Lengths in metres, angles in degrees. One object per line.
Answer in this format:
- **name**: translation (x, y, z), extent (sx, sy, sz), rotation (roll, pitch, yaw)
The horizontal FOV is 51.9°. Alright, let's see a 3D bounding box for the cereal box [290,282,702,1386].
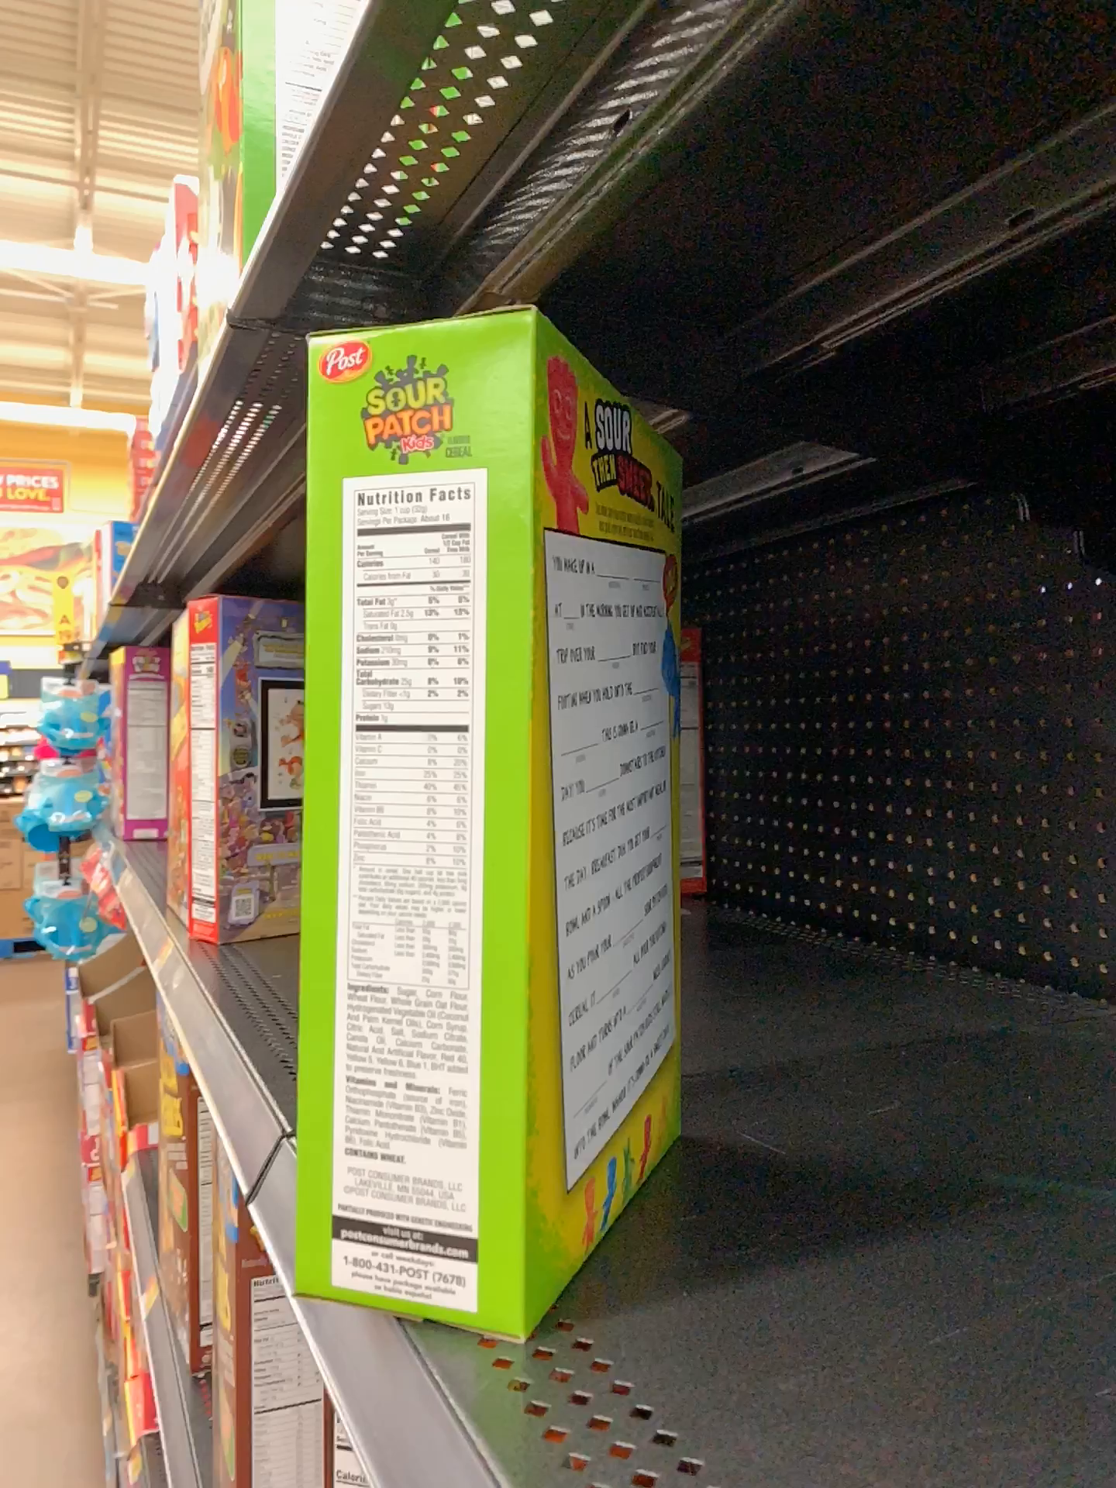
- **cereal box**: translation (-0.008, 0.024, 0.430), extent (0.080, 0.310, 0.200), rotation (0, -1, 20)
